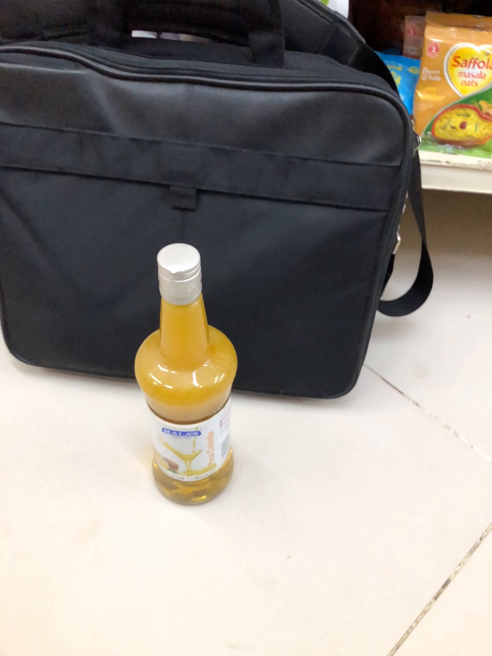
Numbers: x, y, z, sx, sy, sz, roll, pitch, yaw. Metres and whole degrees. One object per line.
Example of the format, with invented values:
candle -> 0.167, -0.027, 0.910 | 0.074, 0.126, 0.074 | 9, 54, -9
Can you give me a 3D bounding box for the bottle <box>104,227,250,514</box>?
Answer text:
bottle -> -0.048, 0.057, 0.470 | 0.090, 0.288, 0.081 | 2, 46, -2
